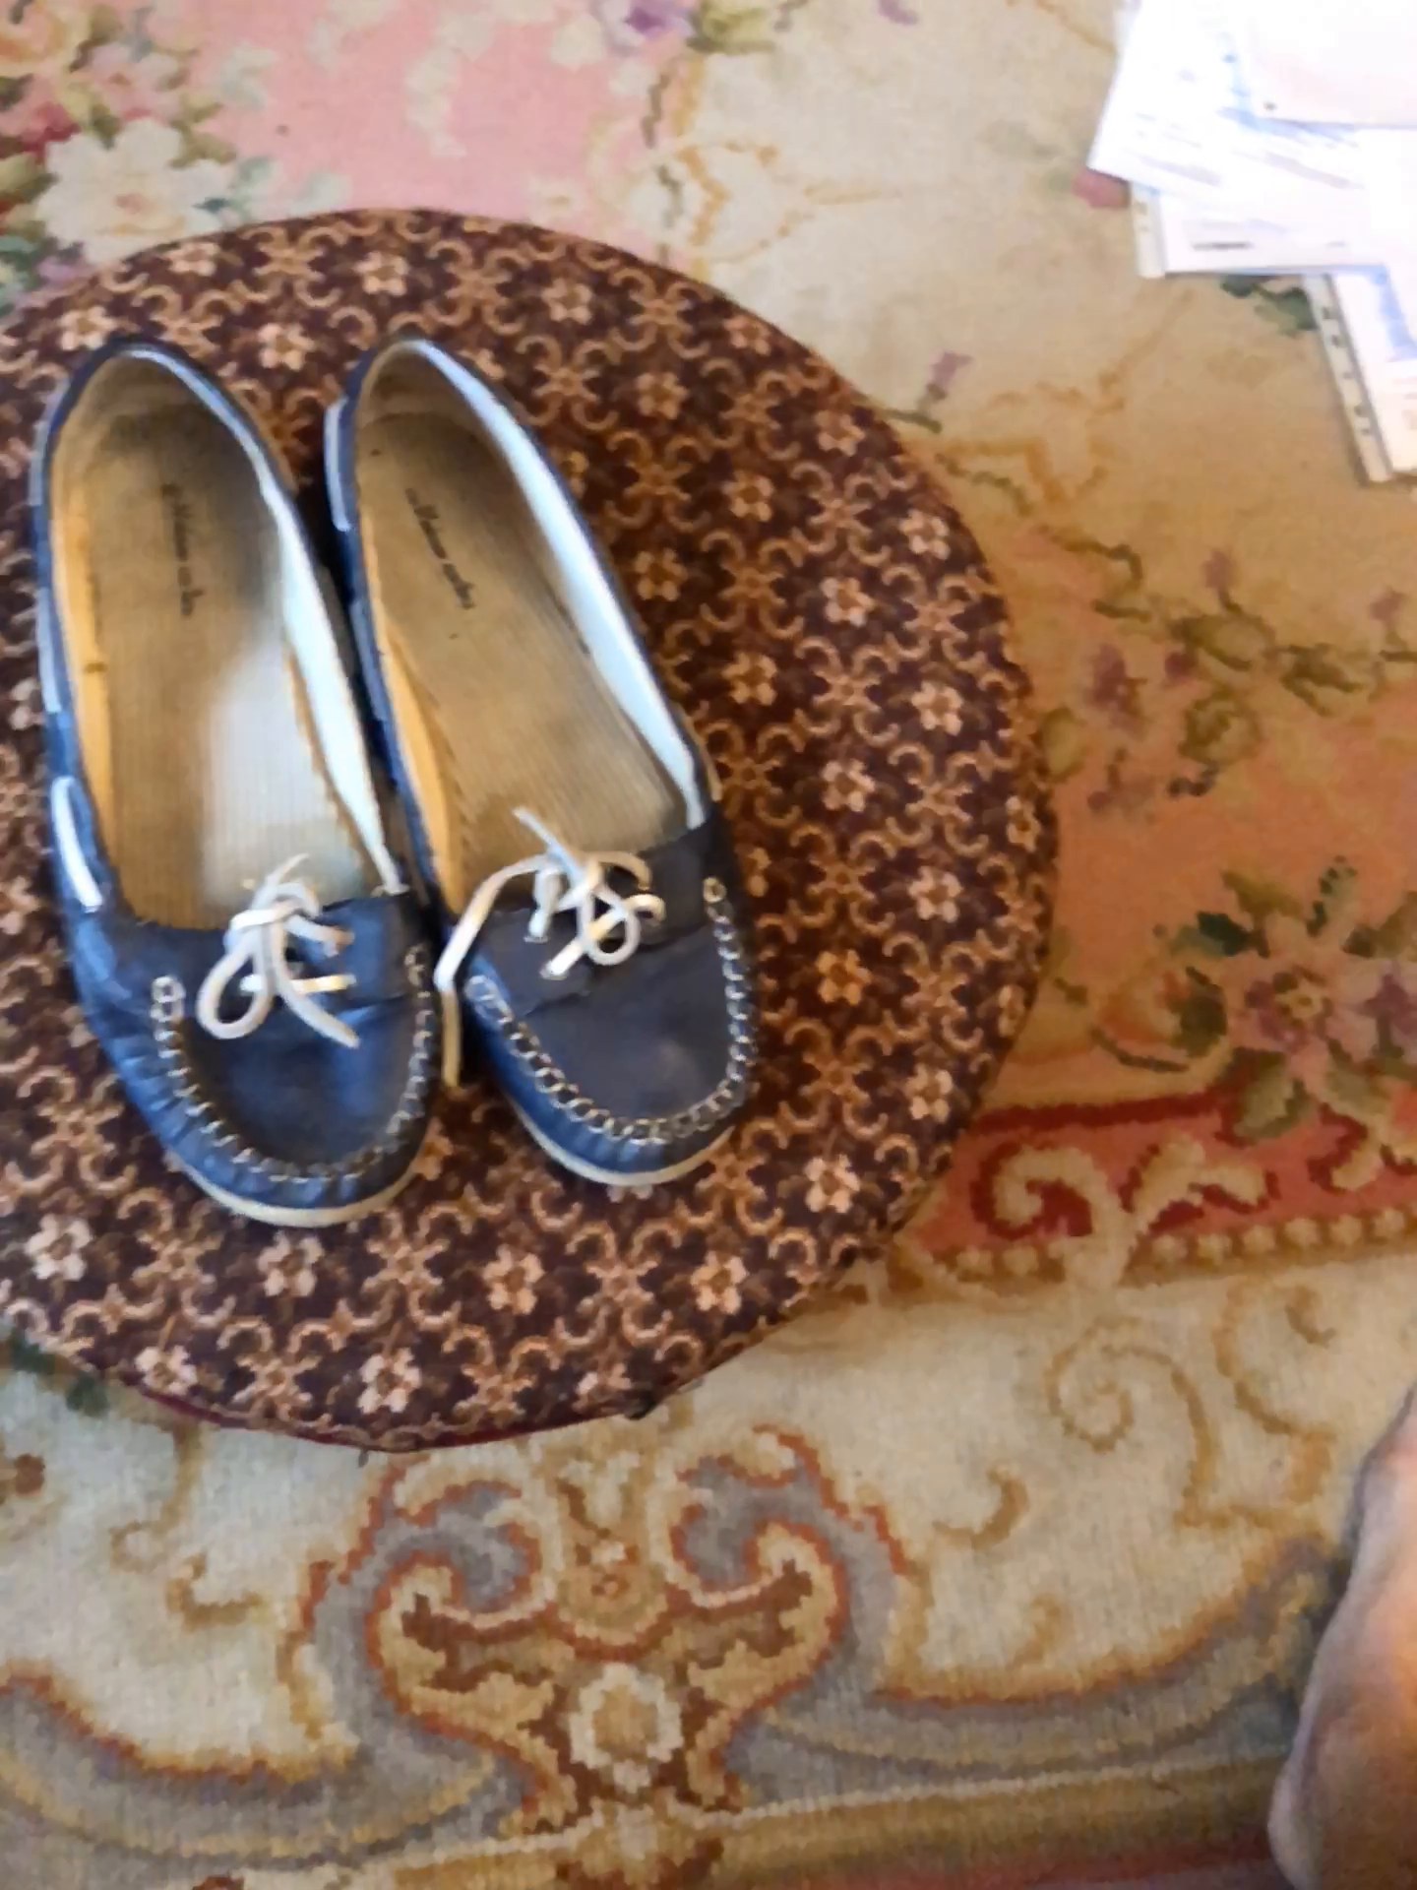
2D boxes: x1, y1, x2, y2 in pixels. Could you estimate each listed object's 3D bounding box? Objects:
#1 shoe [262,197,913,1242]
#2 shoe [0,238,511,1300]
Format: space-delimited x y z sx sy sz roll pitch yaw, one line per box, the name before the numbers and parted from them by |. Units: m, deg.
shoe | -0.039 -0.056 0.422 0.090 0.090 0.250 -15 81 -13
shoe | -0.129 -0.044 0.418 0.090 0.100 0.250 -14 74 -6
